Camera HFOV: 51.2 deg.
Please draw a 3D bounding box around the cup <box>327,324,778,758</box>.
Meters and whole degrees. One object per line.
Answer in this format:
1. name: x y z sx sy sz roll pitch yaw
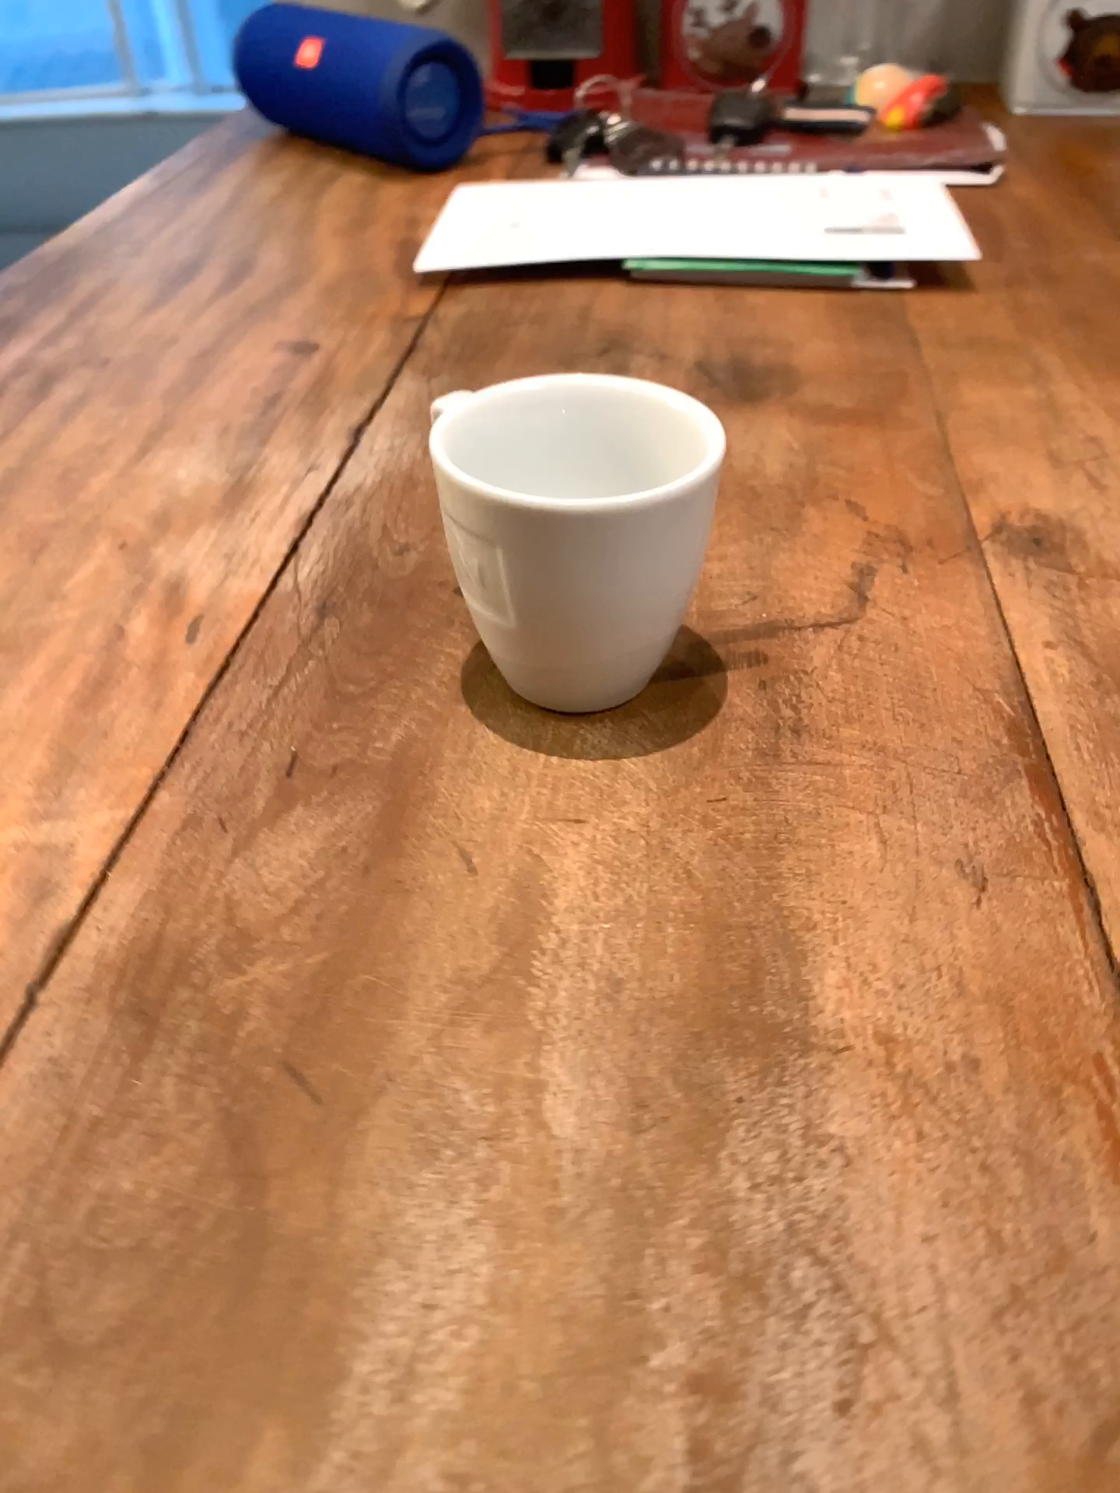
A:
1. cup: -0.005 -0.051 0.260 0.060 0.050 0.090 -18 41 -21
